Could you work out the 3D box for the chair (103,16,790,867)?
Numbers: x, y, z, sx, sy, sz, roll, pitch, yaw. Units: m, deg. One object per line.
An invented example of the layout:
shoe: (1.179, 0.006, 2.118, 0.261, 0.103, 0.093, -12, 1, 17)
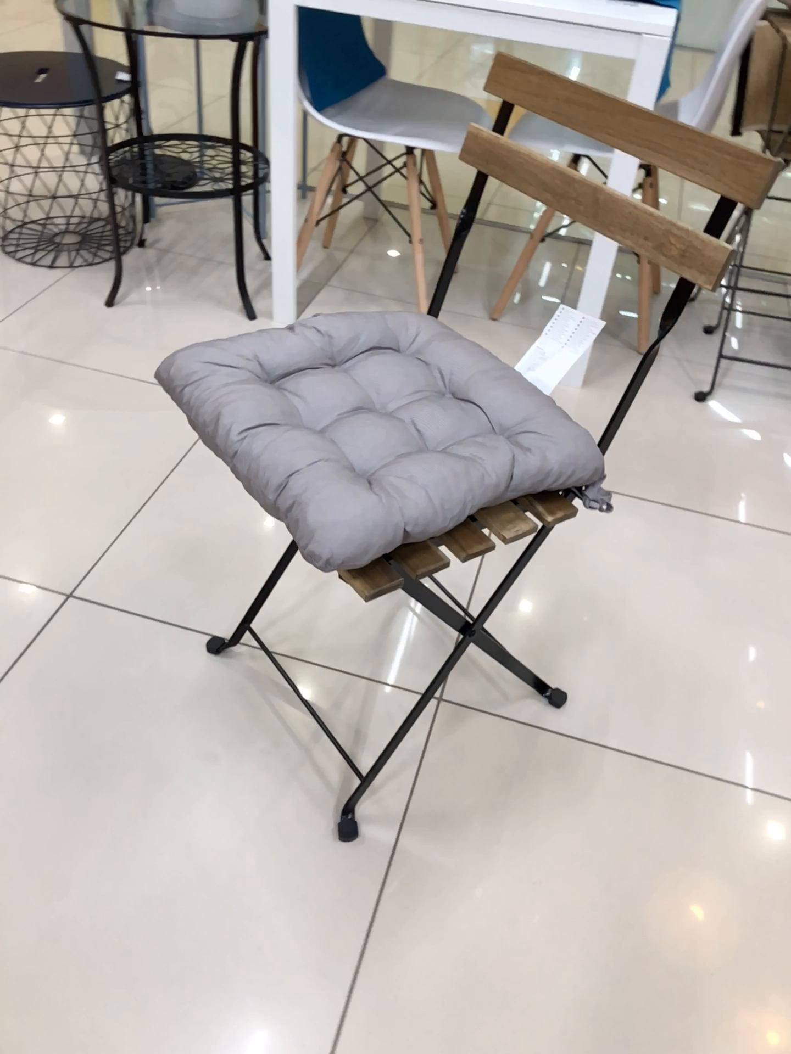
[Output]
chair: (0.016, -0.094, 0.996, 0.441, 0.764, 0.442, -23, 48, -30)
